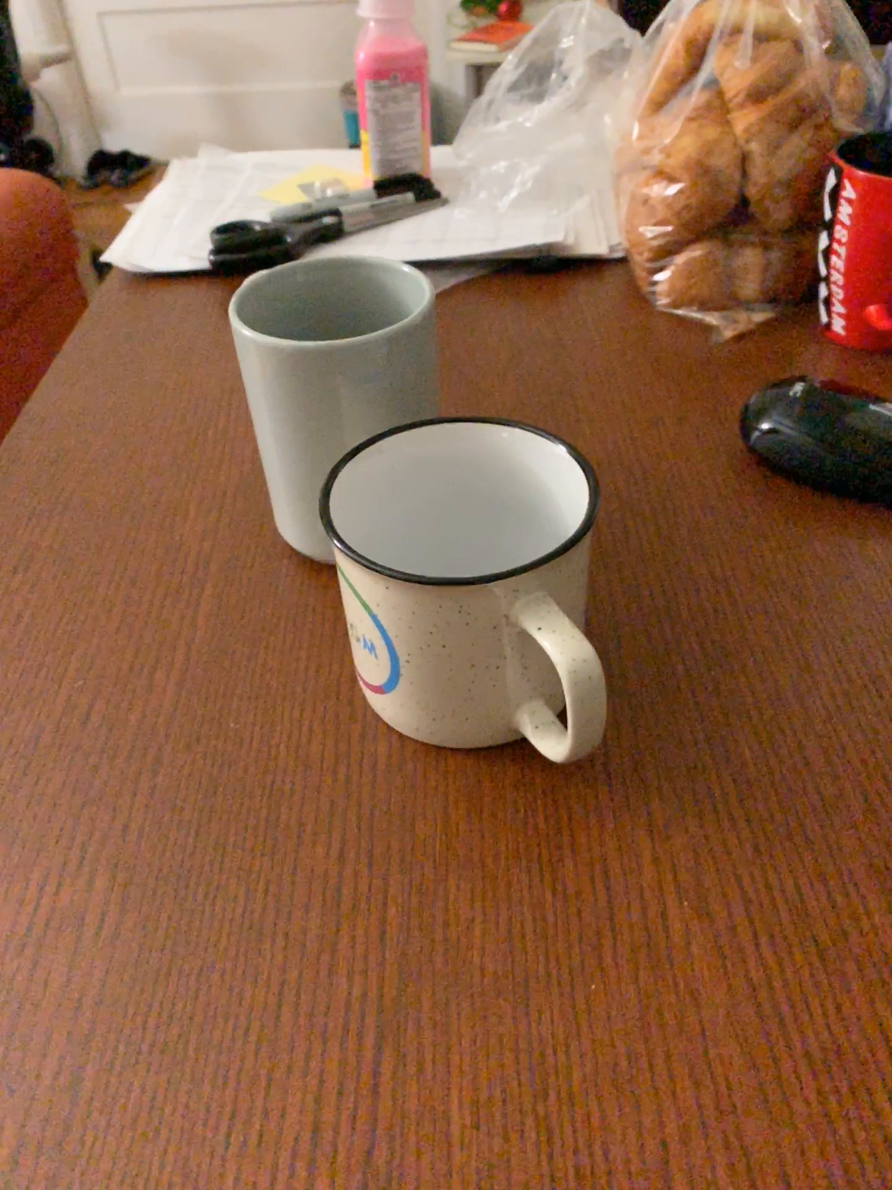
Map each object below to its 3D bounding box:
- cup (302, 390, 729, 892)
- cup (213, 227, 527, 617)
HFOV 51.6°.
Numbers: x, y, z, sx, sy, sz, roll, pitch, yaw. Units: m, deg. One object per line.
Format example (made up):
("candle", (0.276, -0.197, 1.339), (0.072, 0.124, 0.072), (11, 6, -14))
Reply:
("cup", (0.016, 0.010, 0.334), (0.100, 0.099, 0.131), (-13, 43, -11))
("cup", (-0.036, -0.084, 0.416), (0.100, 0.099, 0.141), (-14, 43, -11))
